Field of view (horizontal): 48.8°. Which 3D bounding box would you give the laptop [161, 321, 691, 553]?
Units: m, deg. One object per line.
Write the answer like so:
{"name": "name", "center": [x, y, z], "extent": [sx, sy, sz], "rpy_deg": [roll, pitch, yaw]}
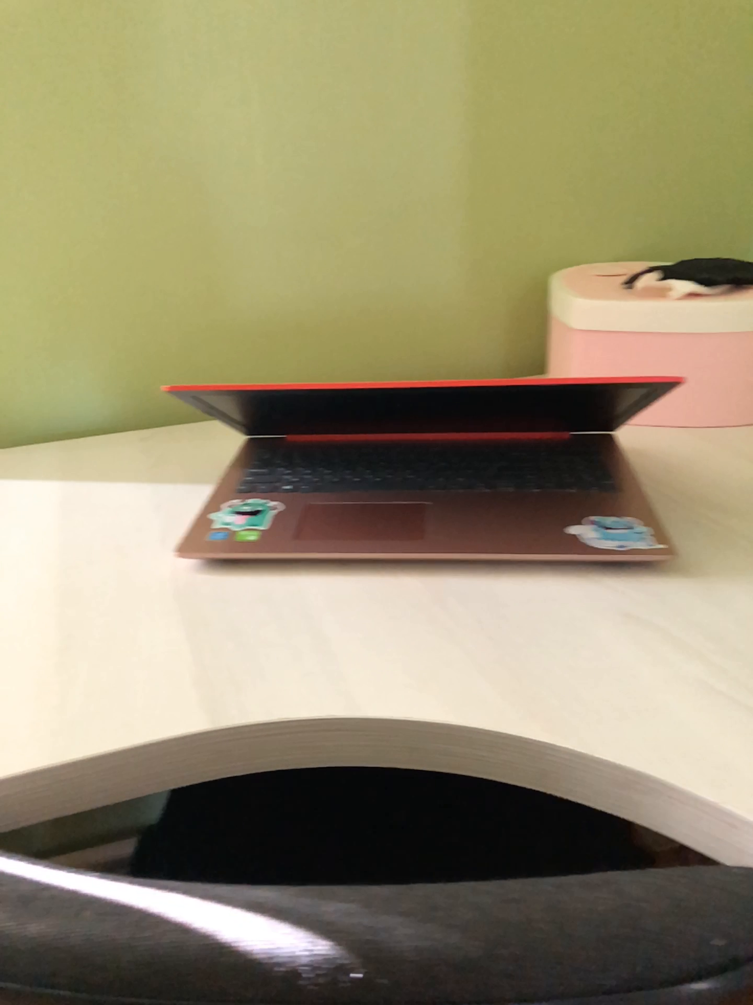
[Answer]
{"name": "laptop", "center": [0.039, -0.066, 0.701], "extent": [0.366, 0.112, 0.233], "rpy_deg": [0, 25, 5]}
